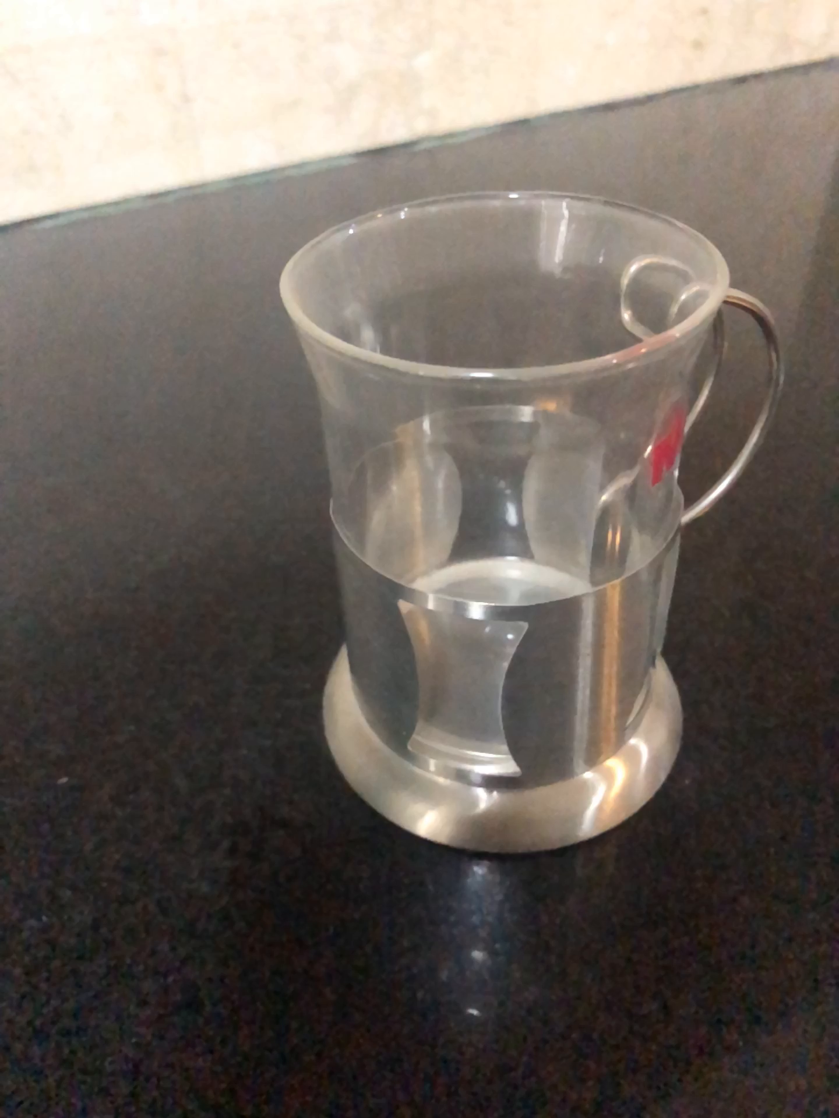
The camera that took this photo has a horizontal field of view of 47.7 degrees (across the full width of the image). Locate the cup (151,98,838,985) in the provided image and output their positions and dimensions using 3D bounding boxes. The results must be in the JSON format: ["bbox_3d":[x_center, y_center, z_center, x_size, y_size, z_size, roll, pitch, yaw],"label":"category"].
[{"bbox_3d":[0.027,-0.009,0.176,0.110,0.109,0.080,-21,42,-21],"label":"cup"}]
